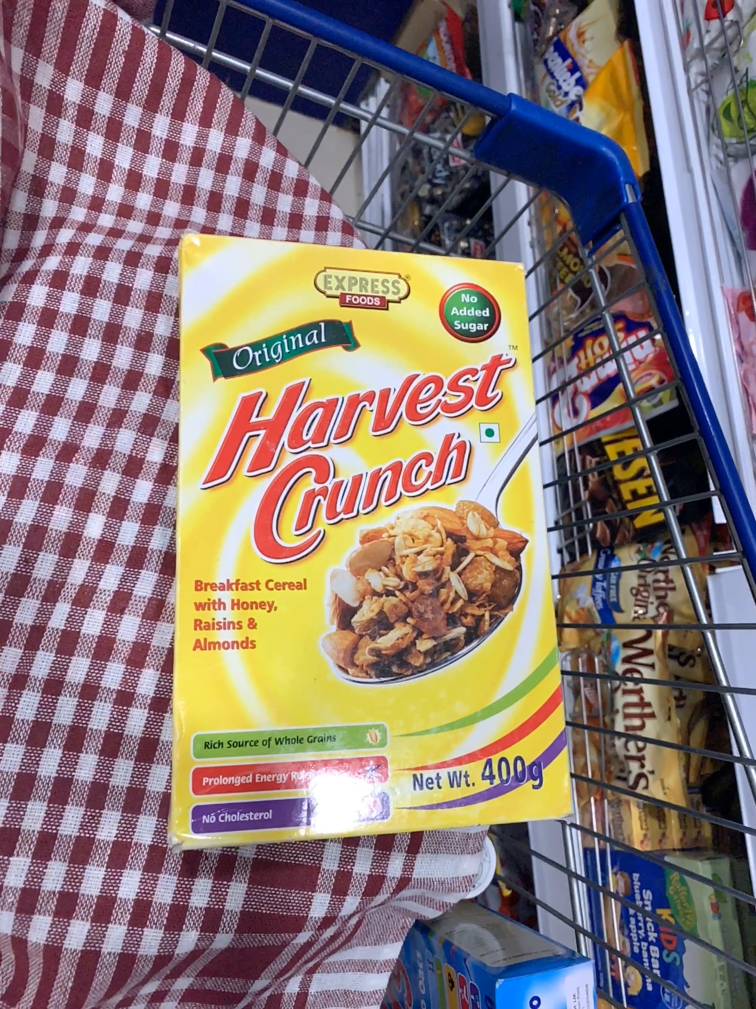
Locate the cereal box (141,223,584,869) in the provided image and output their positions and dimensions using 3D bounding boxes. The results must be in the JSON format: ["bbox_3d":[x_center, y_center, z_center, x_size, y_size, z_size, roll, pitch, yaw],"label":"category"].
[{"bbox_3d":[-0.008,0.012,0.303,0.150,0.050,0.220,1,79,-12],"label":"cereal box"}]
